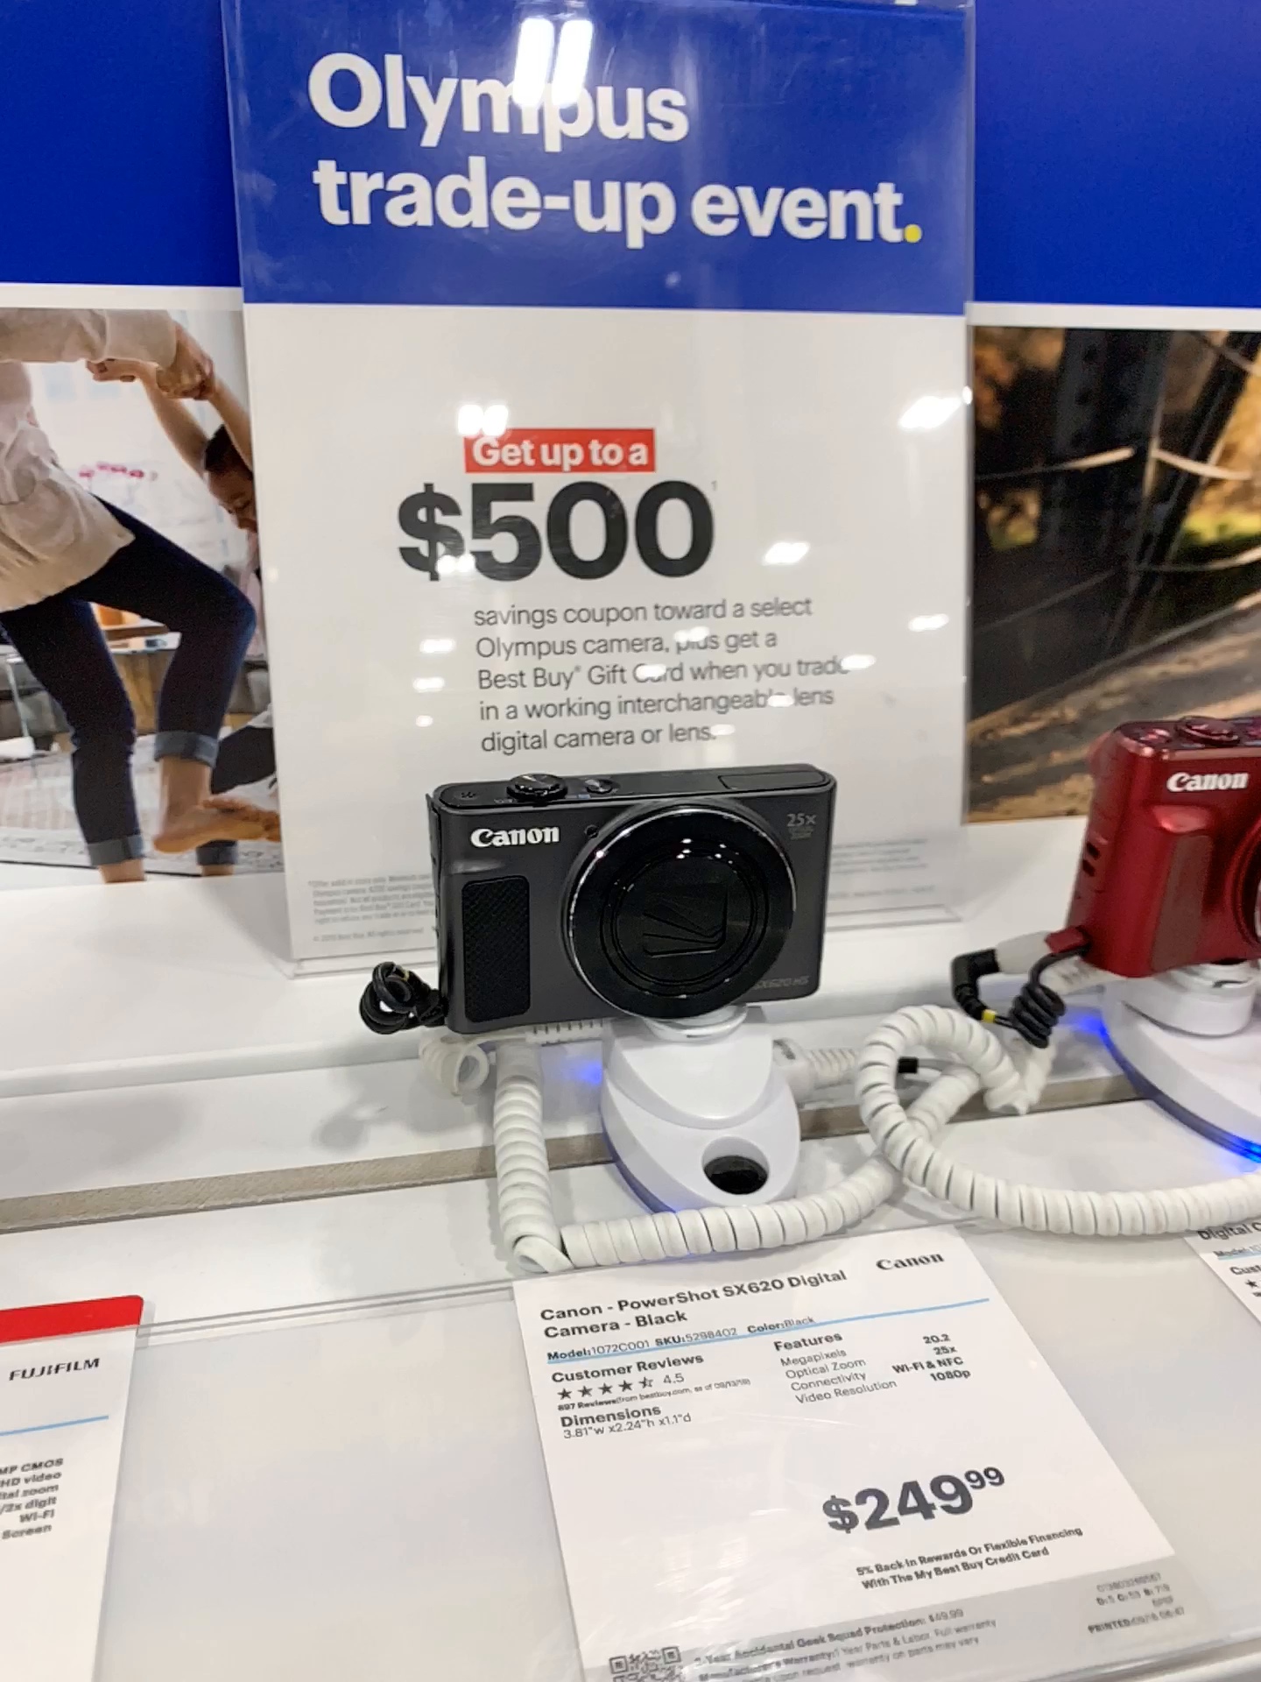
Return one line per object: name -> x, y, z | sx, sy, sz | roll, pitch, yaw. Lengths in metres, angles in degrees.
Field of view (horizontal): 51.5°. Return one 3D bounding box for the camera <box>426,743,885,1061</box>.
camera -> 0.005, 0.013, 0.309 | 0.100, 0.060, 0.030 | -4, 23, -12
